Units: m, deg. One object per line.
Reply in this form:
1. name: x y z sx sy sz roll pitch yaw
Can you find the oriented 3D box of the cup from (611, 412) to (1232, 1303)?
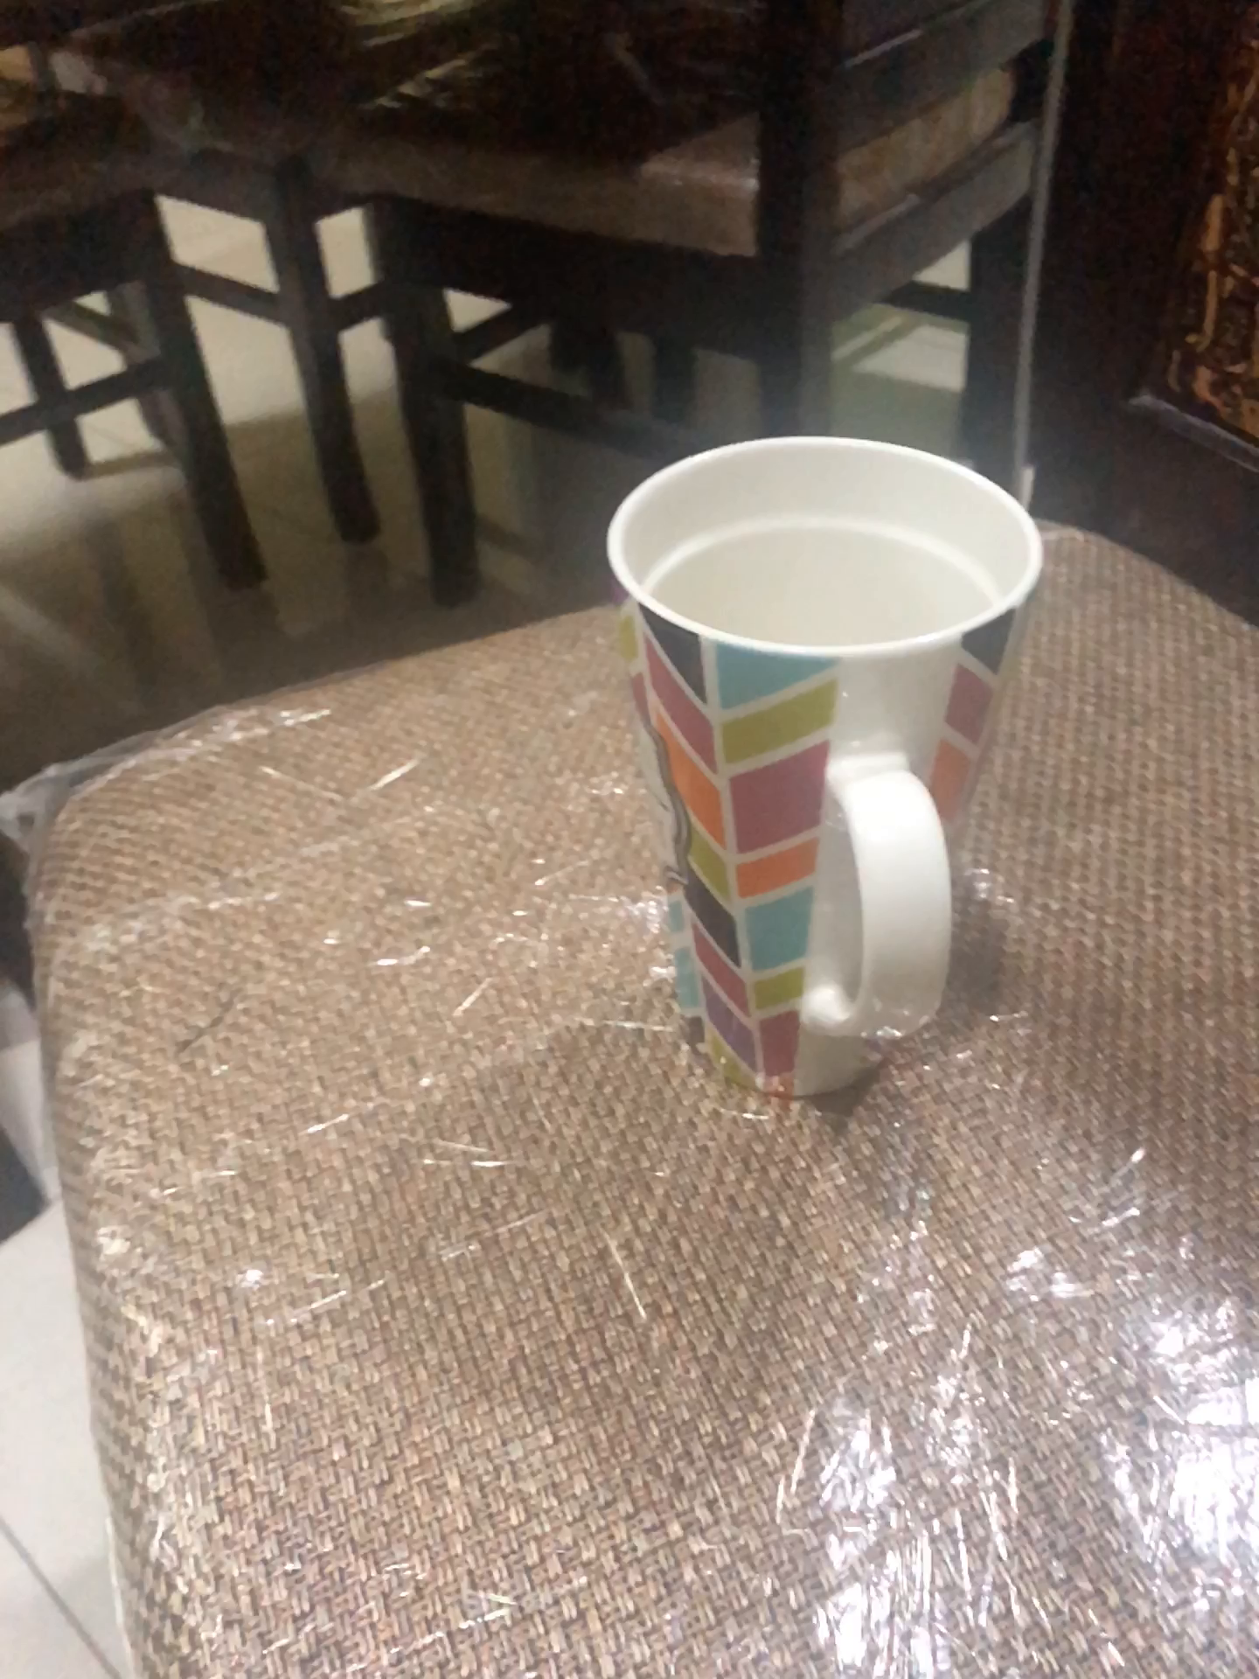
1. cup: 0.045 0.002 0.308 0.090 0.139 0.130 -3 41 -1
